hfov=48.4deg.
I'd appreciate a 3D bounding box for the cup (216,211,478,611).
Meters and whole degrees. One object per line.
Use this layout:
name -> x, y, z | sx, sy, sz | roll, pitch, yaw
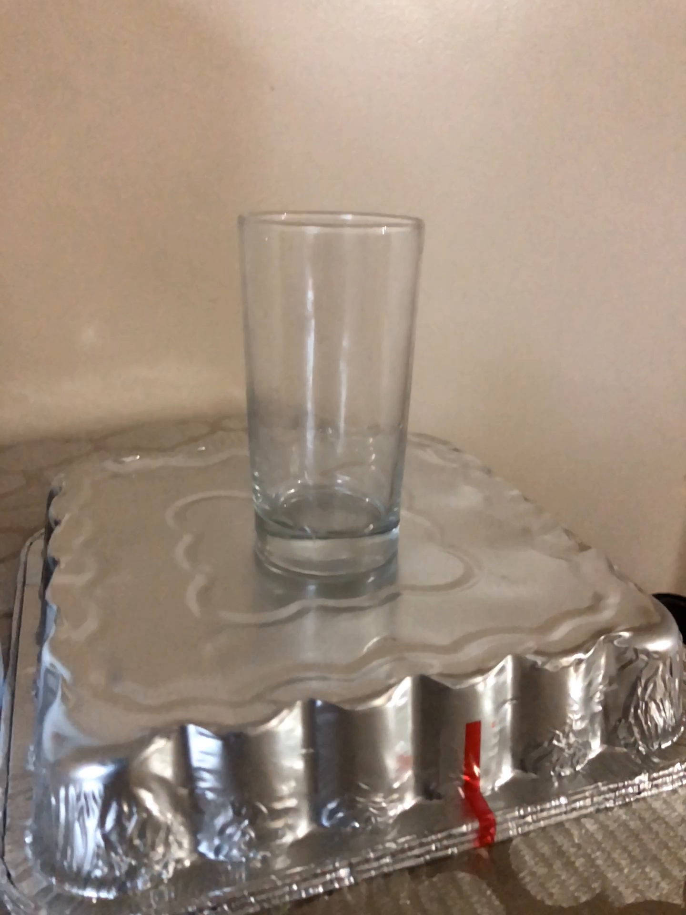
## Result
cup -> -0.002, -0.021, 0.267 | 0.060, 0.119, 0.060 | 3, 21, -1
